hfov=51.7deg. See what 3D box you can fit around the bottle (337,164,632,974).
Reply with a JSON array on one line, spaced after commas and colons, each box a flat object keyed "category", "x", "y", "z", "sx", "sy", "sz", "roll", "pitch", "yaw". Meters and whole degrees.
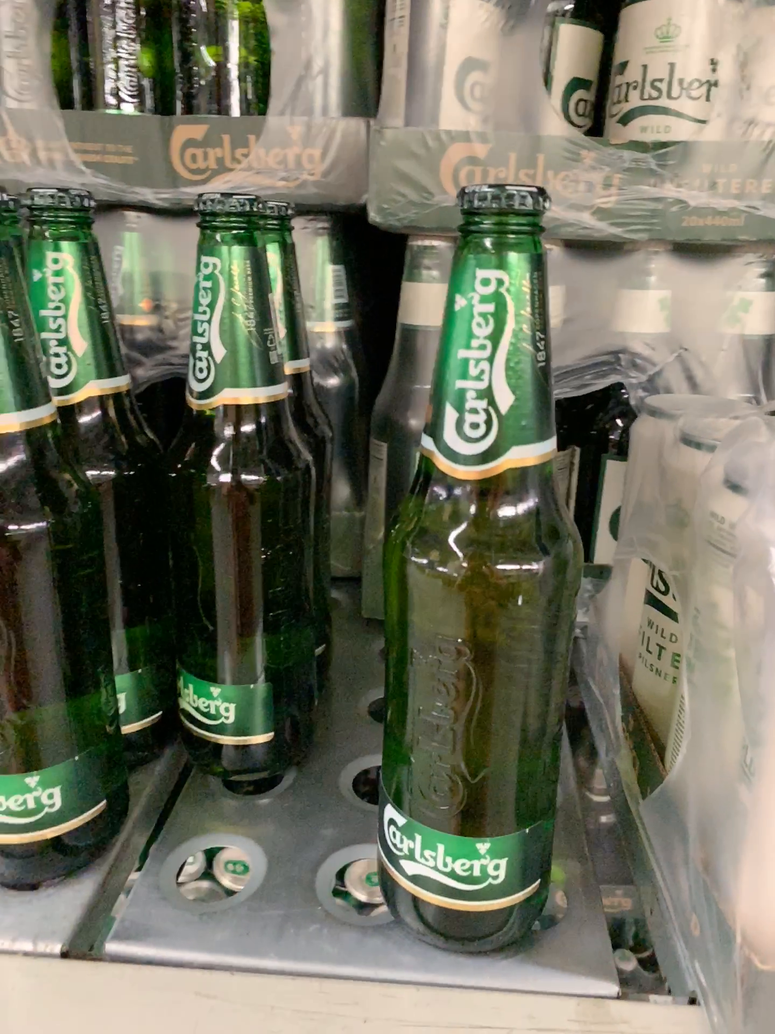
[{"category": "bottle", "x": 0.027, "y": 0.022, "z": 0.264, "sx": 0.071, "sy": 0.249, "sz": 0.060, "roll": 6, "pitch": 19, "yaw": 13}]
